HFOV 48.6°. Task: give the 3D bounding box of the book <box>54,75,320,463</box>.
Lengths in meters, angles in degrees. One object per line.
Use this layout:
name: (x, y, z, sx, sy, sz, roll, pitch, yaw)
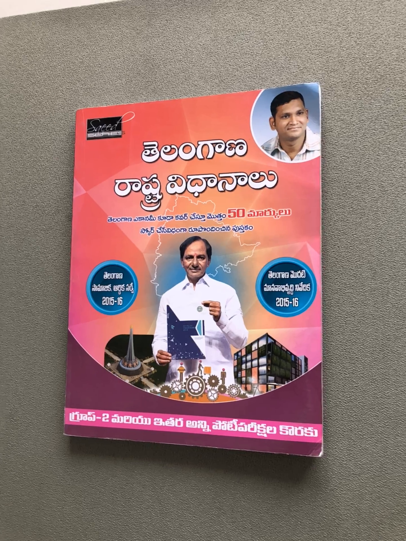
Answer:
book: (-0.011, -0.004, 0.322, 0.180, 0.030, 0.250, 0, 85, 12)
